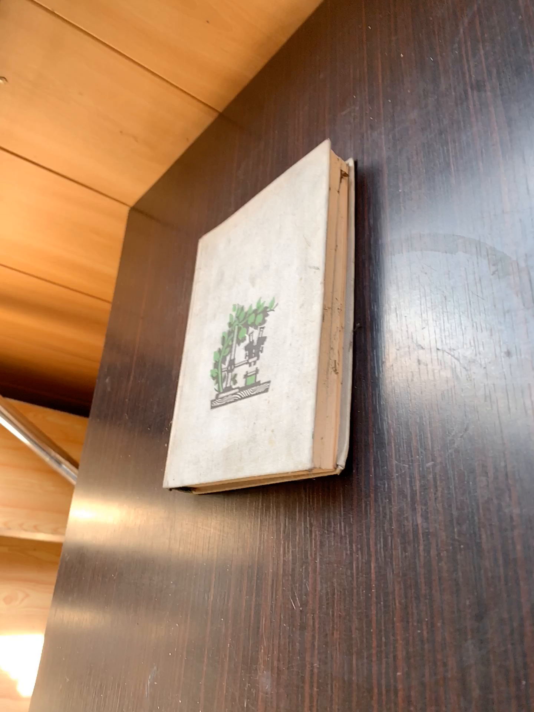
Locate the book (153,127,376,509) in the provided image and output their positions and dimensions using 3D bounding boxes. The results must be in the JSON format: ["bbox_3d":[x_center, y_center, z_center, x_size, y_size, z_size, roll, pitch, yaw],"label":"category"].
[{"bbox_3d":[-0.004,-0.011,0.292,0.136,0.027,0.169,-23,54,50],"label":"book"}]
